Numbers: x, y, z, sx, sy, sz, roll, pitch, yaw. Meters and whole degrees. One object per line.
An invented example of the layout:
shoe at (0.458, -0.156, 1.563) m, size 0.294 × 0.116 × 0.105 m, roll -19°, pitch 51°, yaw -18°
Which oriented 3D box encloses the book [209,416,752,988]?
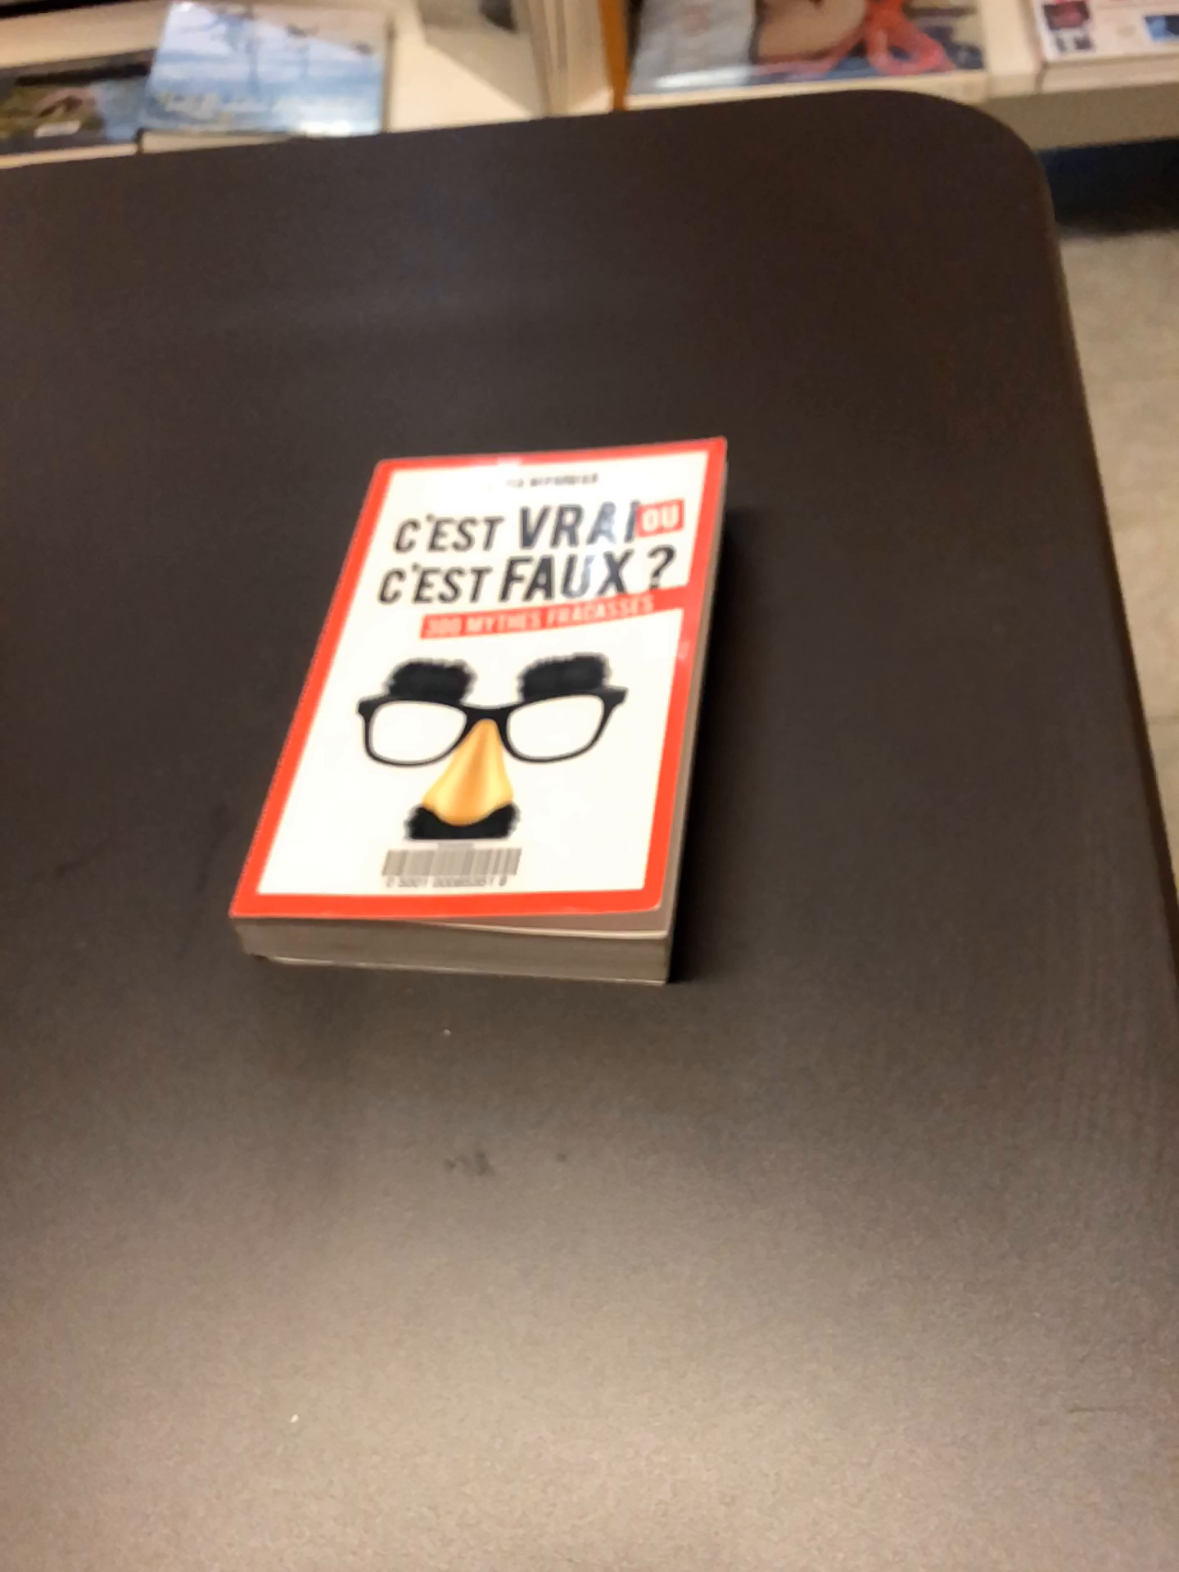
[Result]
book at (-0.023, -0.033, 0.400) m, size 0.126 × 0.034 × 0.185 m, roll 0°, pitch 55°, yaw 15°
